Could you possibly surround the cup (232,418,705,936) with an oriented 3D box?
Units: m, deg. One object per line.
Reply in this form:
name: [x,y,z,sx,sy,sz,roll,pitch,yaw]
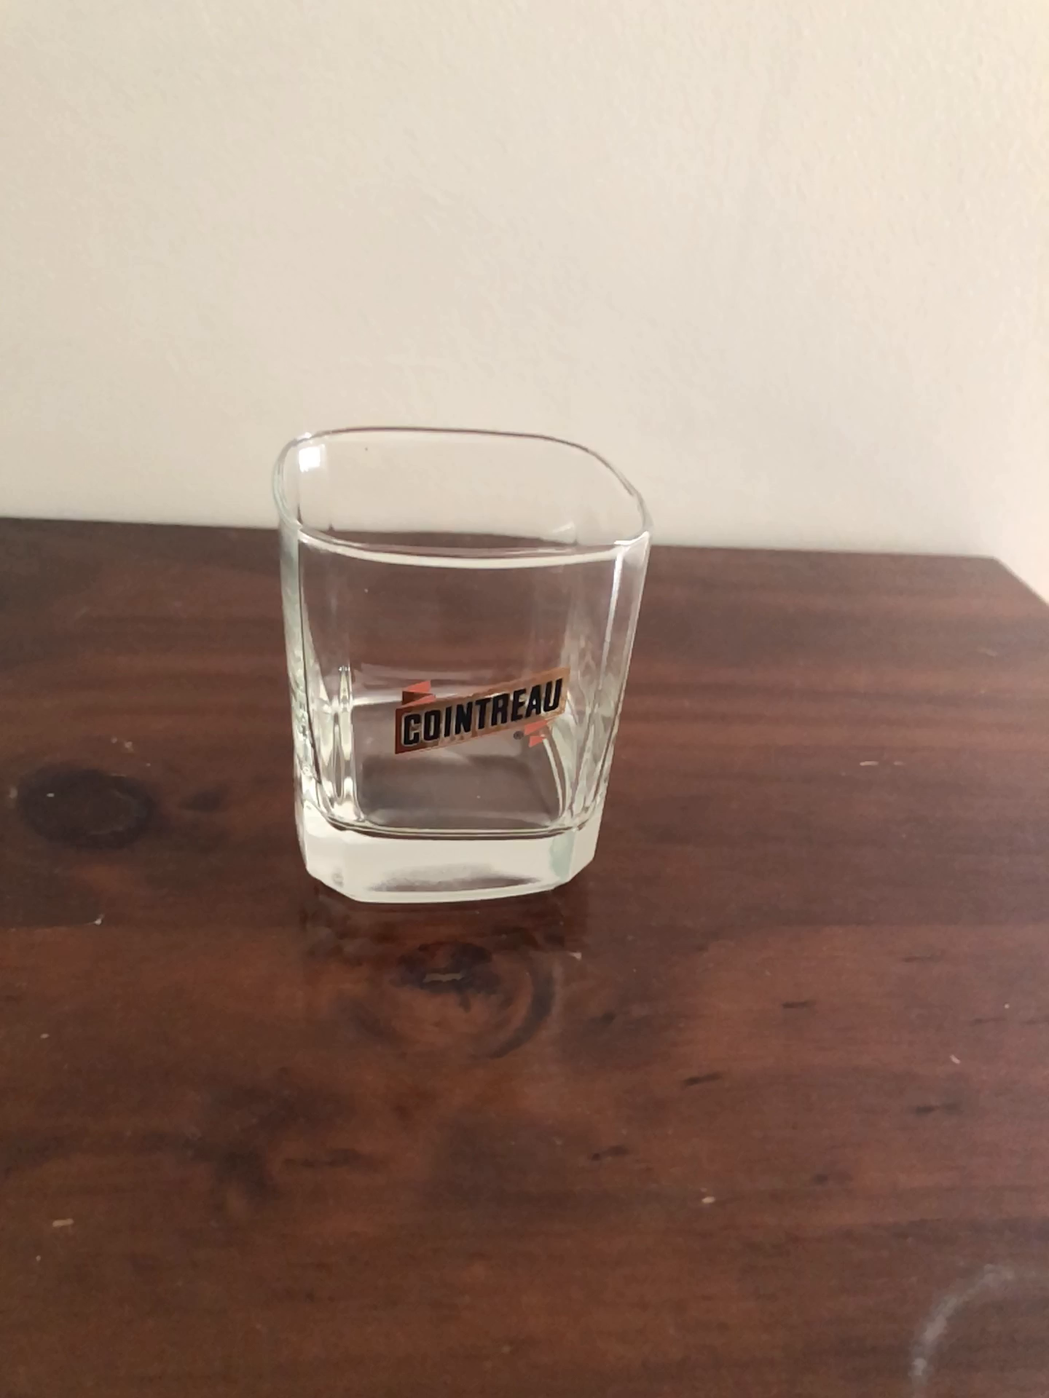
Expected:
cup: [-0.019,-0.009,0.265,0.086,0.085,0.081,4,29,-2]
